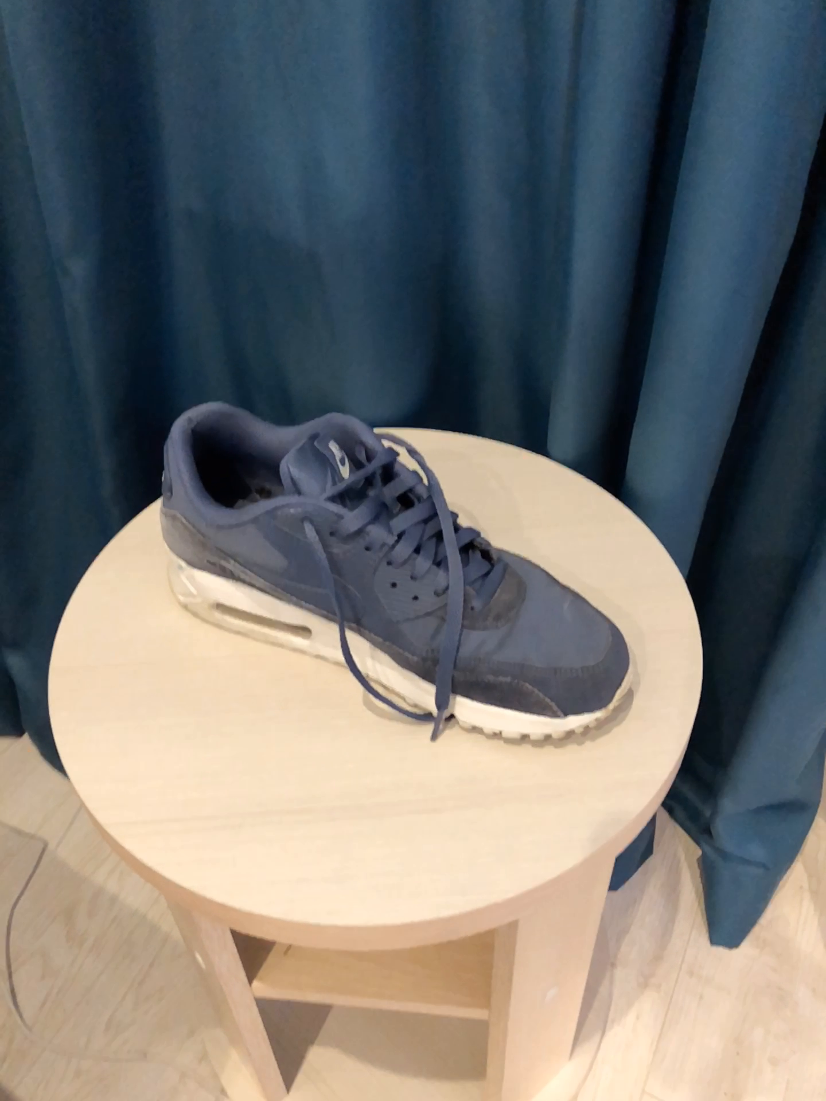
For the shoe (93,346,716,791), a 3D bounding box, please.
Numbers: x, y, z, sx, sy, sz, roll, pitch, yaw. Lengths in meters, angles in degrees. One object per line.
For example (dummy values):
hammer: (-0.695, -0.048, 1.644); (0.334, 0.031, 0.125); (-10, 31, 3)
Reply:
shoe: (-0.007, -0.002, 0.471); (0.280, 0.109, 0.111); (18, 45, 19)
